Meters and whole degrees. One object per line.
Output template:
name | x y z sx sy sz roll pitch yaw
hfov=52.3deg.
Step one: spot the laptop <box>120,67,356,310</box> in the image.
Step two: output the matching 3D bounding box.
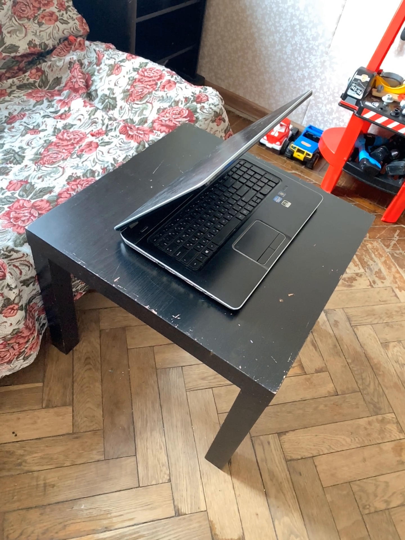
laptop | 0.074 -0.181 0.792 0.257 0.201 0.406 31 50 14
